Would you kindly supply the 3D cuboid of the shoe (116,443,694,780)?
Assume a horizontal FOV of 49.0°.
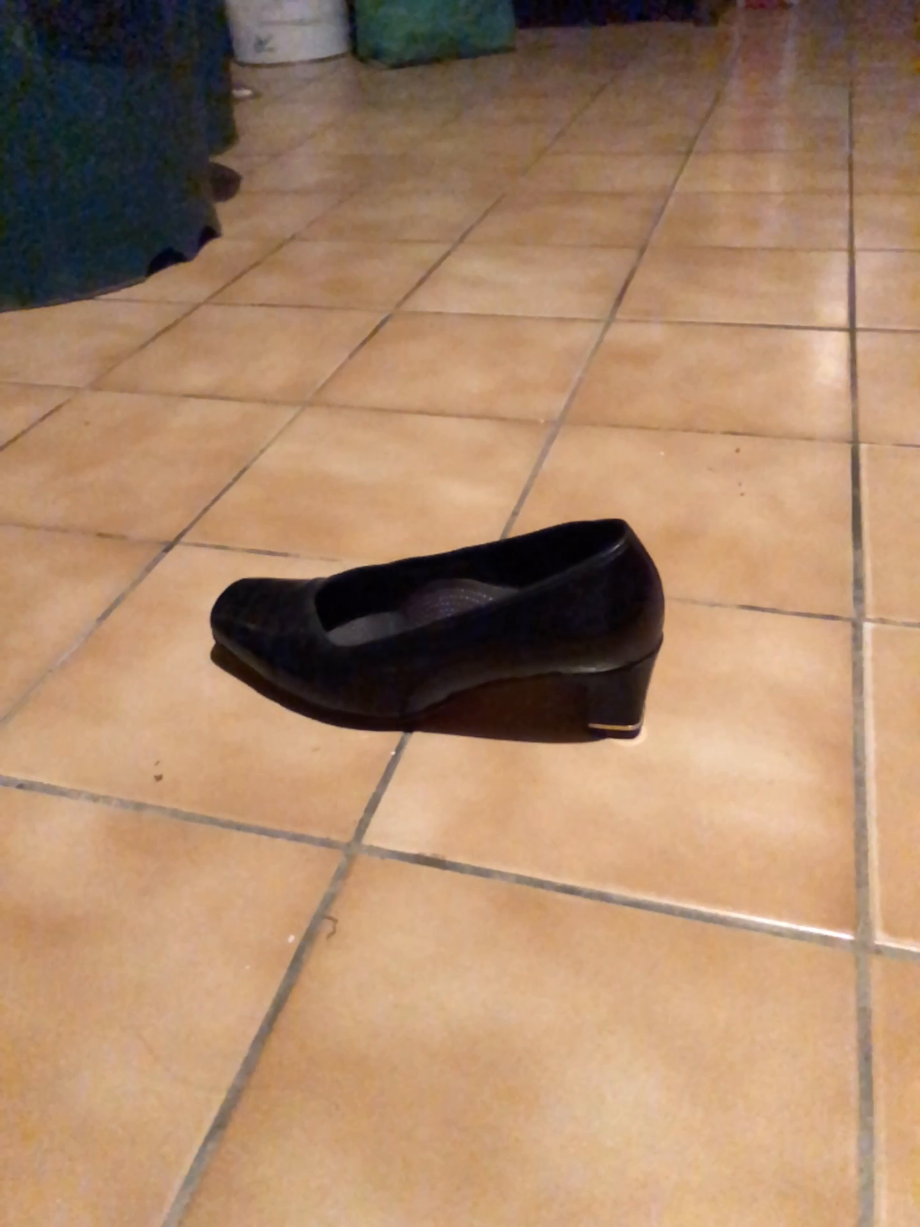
[{"bbox_3d":[-0.022,-0.009,0.495,0.250,0.090,0.101,9,38,18],"label":"shoe"}]
